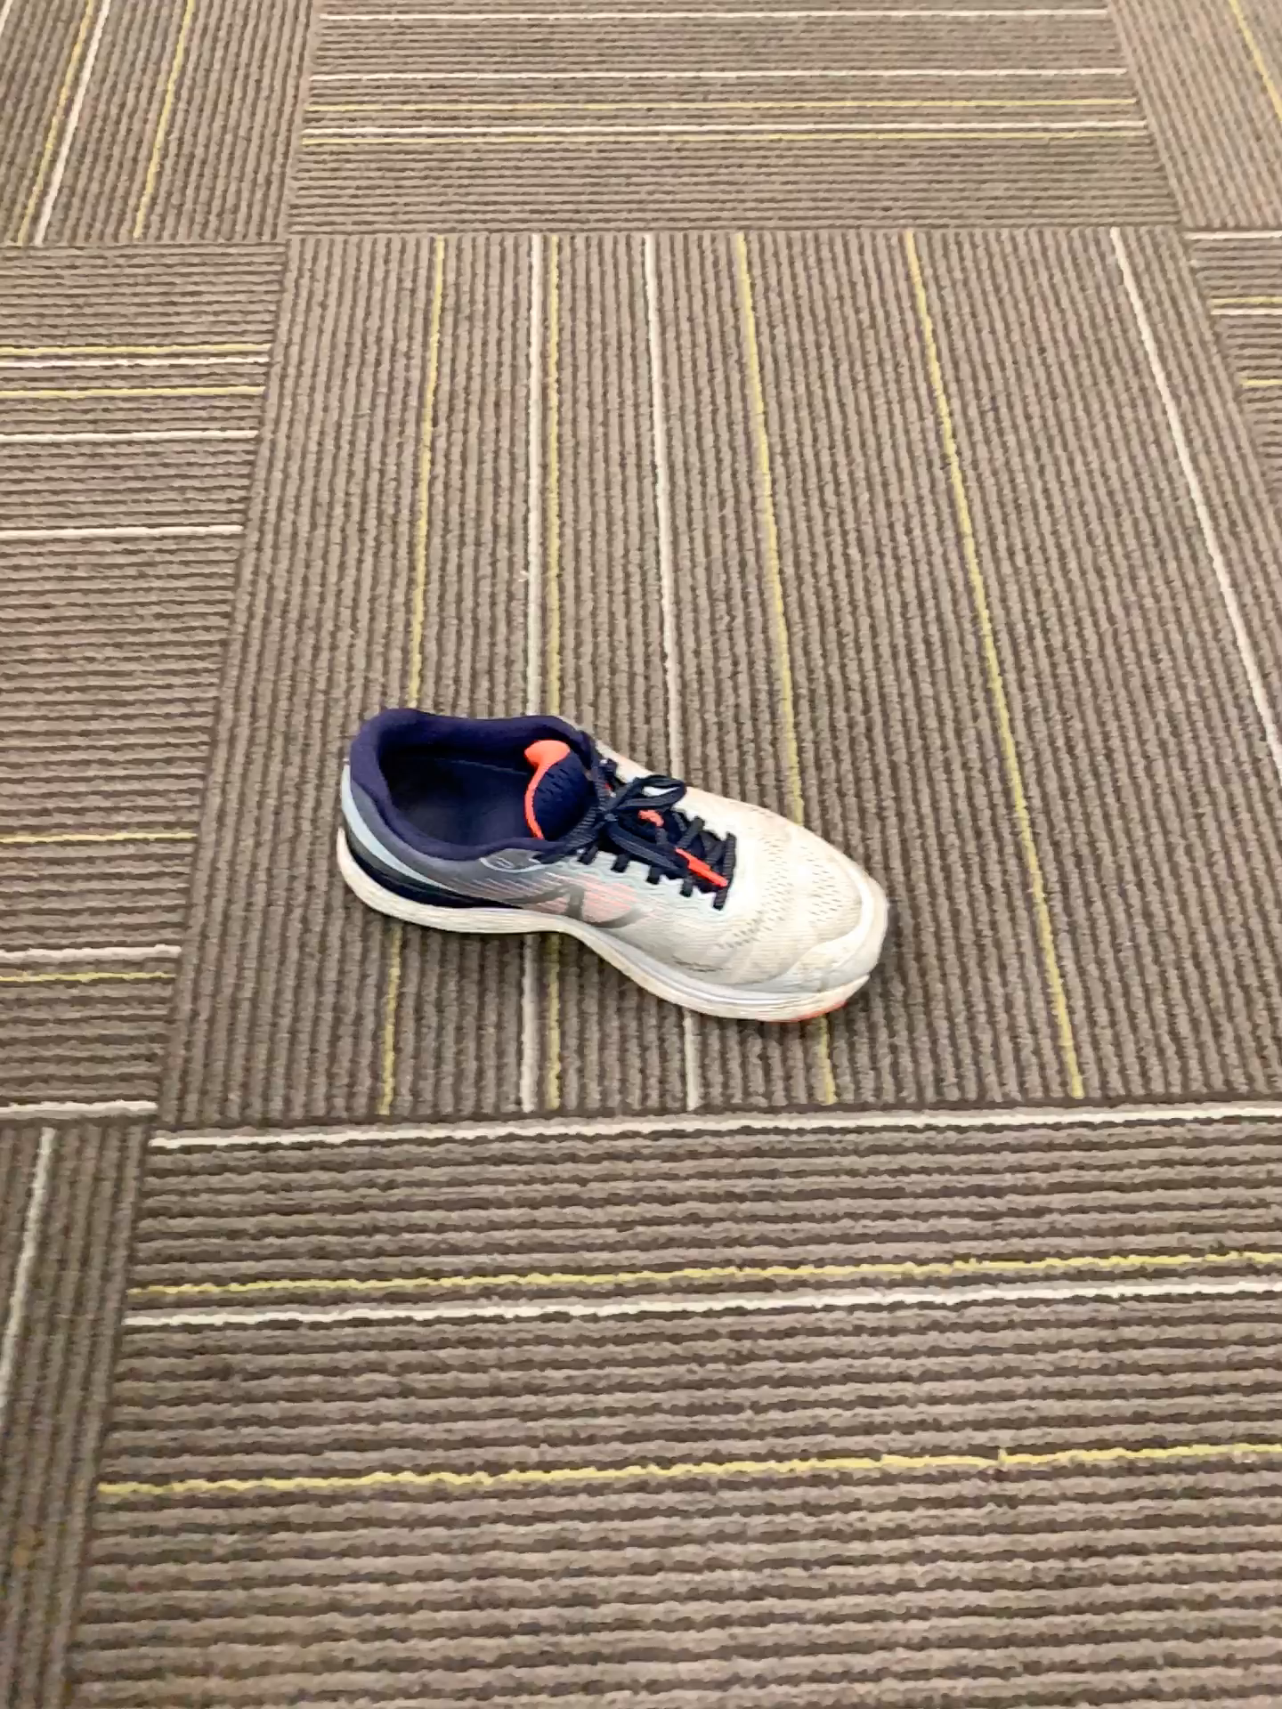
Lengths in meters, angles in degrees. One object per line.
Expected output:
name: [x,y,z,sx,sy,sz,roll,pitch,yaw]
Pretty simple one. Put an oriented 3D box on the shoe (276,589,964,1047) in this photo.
shoe: [-0.006,-0.014,0.586,0.260,0.120,0.110,12,62,6]
